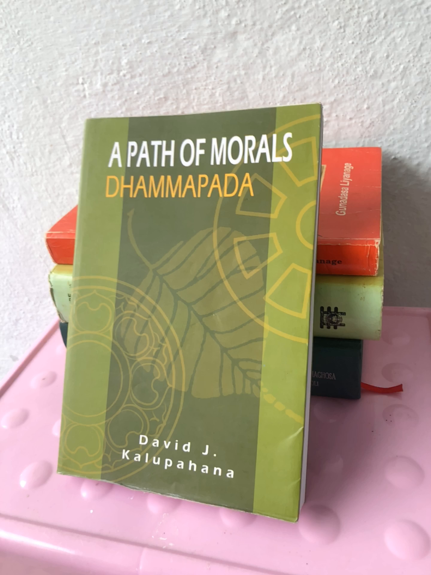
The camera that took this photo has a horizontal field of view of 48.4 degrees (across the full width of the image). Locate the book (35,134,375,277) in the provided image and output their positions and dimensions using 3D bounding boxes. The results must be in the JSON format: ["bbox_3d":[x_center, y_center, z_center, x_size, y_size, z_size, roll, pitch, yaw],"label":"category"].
[{"bbox_3d":[0.005,-0.065,0.354,0.210,0.030,0.161,2,34,19],"label":"book"}]

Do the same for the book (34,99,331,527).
[{"bbox_3d":[-0.018,0.006,0.278,0.150,0.210,0.040,3,-4,18],"label":"book"}]

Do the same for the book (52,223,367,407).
[{"bbox_3d":[0.008,0.006,0.390,0.210,0.050,0.161,3,34,20],"label":"book"}]

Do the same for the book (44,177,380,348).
[{"bbox_3d":[0.011,-0.030,0.359,0.210,0.040,0.161,2,34,19],"label":"book"}]
